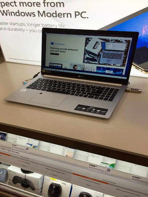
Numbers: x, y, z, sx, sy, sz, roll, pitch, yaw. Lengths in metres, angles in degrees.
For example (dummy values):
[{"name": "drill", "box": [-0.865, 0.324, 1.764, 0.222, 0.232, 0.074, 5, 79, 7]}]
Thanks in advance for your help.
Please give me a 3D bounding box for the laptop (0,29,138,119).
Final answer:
[{"name": "laptop", "box": [-0.014, -0.116, 0.722, 0.395, 0.199, 0.300, 12, 37, 18]}]
